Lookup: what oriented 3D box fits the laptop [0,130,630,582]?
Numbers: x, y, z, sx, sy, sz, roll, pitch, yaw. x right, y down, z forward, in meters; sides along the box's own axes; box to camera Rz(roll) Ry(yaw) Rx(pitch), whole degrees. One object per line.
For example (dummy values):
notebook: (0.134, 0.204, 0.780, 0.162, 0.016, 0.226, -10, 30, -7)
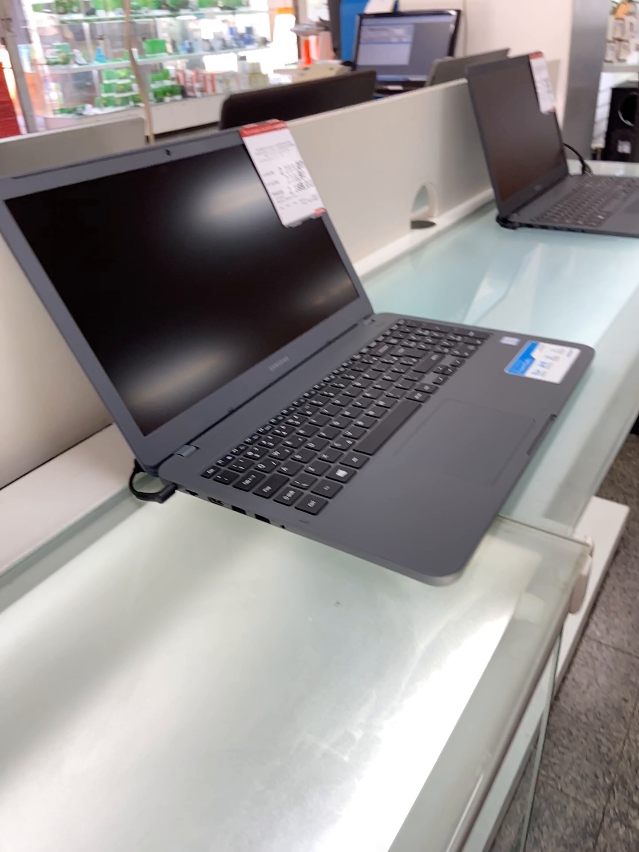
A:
laptop: (0.015, -0.115, 0.546, 0.351, 0.197, 0.362, 15, 36, 29)
